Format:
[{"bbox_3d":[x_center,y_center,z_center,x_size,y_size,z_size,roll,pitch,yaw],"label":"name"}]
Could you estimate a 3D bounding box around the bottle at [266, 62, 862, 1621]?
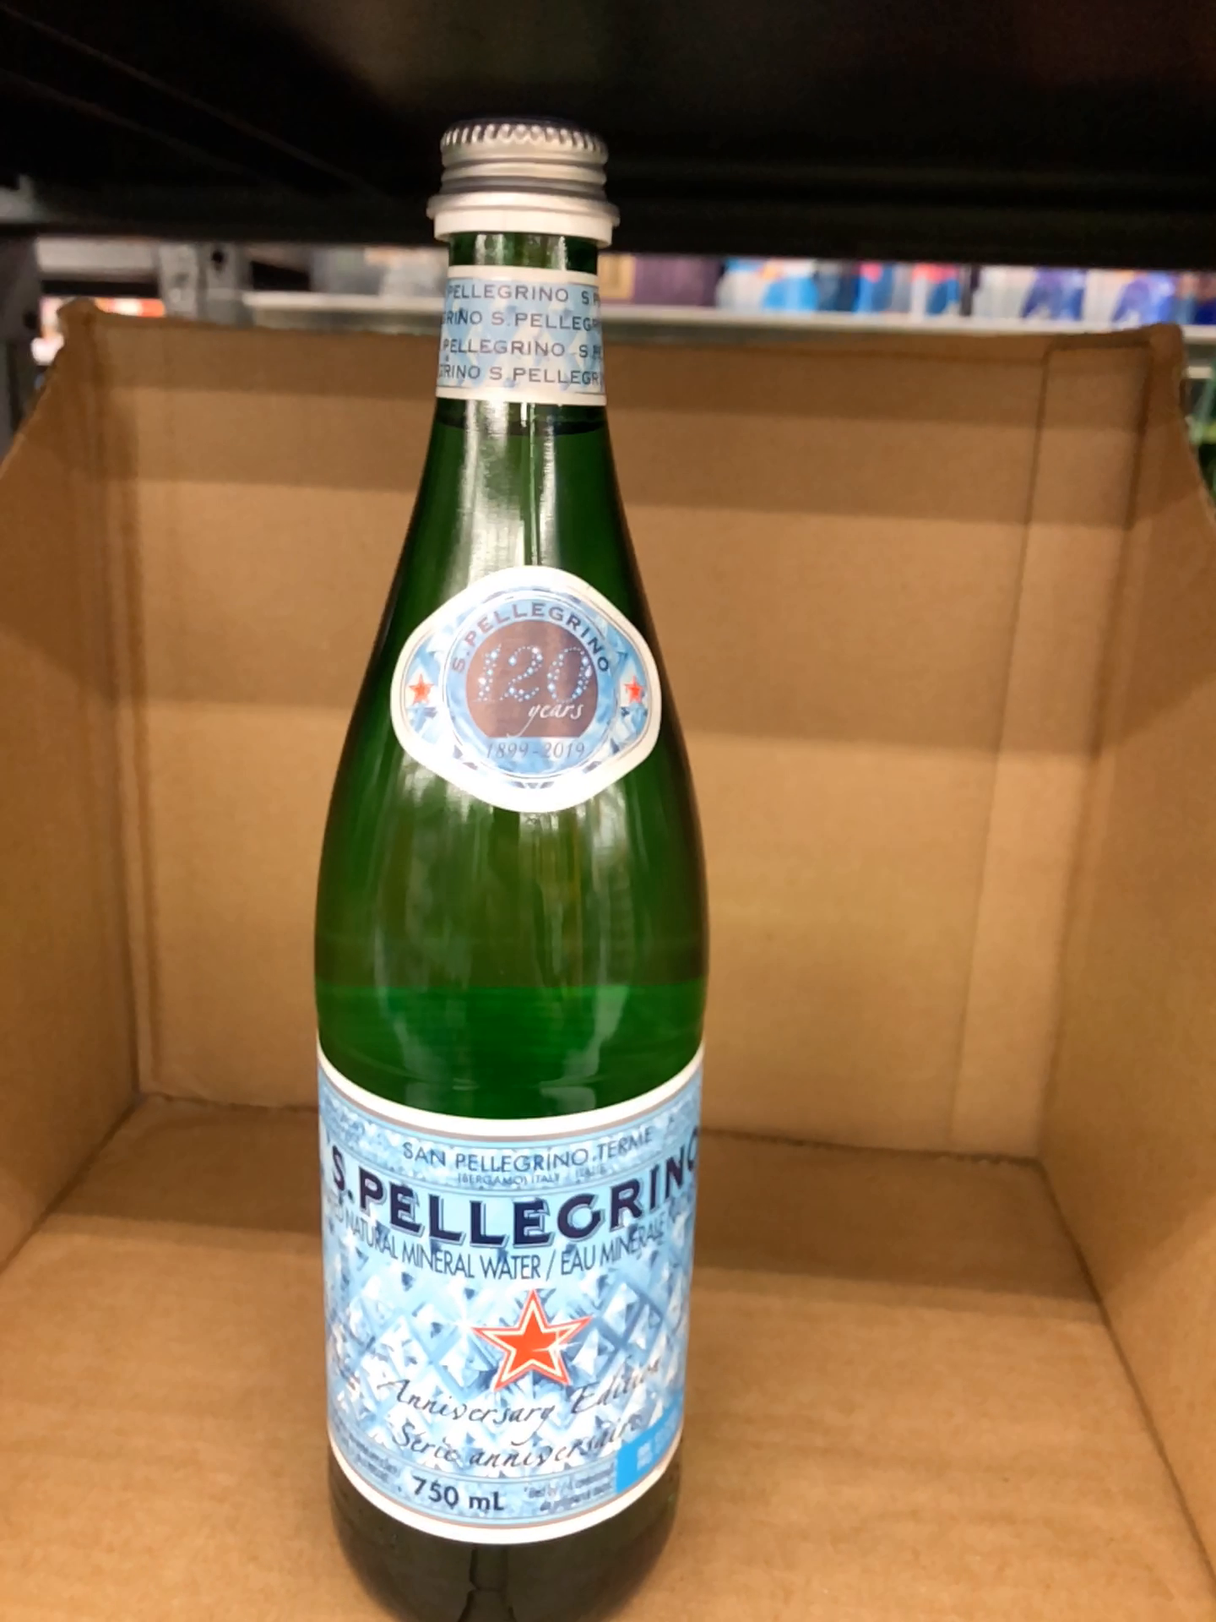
[{"bbox_3d":[-0.009,0.023,0.256,0.080,0.278,0.070,3,17,3],"label":"bottle"}]
